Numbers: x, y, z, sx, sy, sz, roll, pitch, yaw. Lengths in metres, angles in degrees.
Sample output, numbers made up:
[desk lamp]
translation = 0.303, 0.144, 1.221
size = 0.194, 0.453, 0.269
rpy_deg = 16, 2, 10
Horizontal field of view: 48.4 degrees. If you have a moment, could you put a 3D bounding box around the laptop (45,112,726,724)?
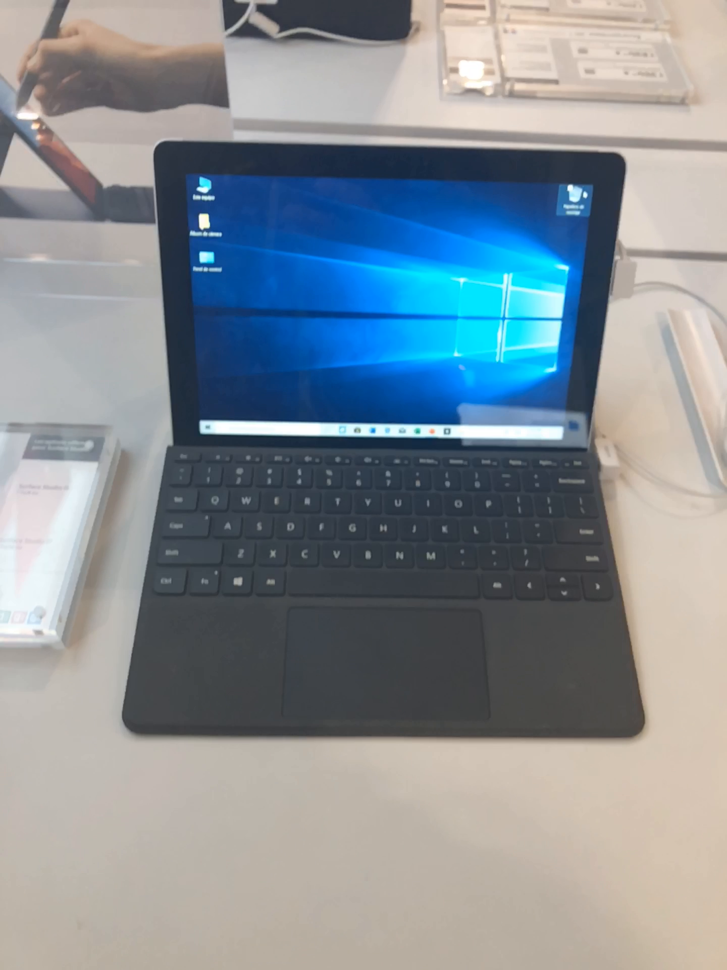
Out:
[laptop]
translation = 0.009, -0.036, 0.394
size = 0.236, 0.140, 0.251
rpy_deg = 1, 54, -3
